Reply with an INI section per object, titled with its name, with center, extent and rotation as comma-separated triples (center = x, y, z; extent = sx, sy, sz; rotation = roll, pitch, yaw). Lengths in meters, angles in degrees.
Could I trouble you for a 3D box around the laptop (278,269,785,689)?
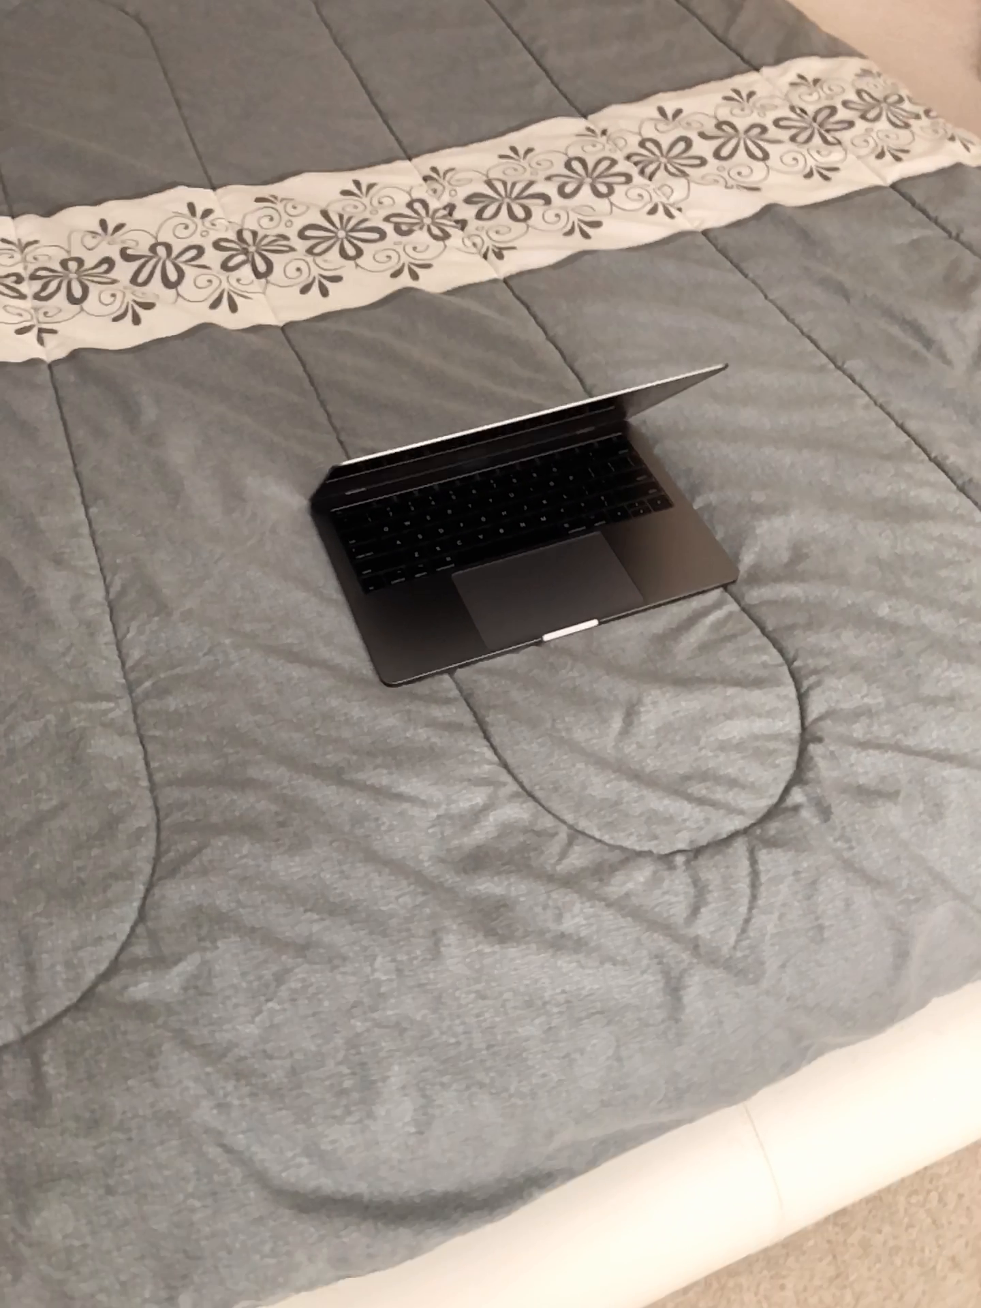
[laptop]
center = 0.021, -0.130, 0.768
extent = 0.278, 0.140, 0.195
rotation = -18, 53, -12
